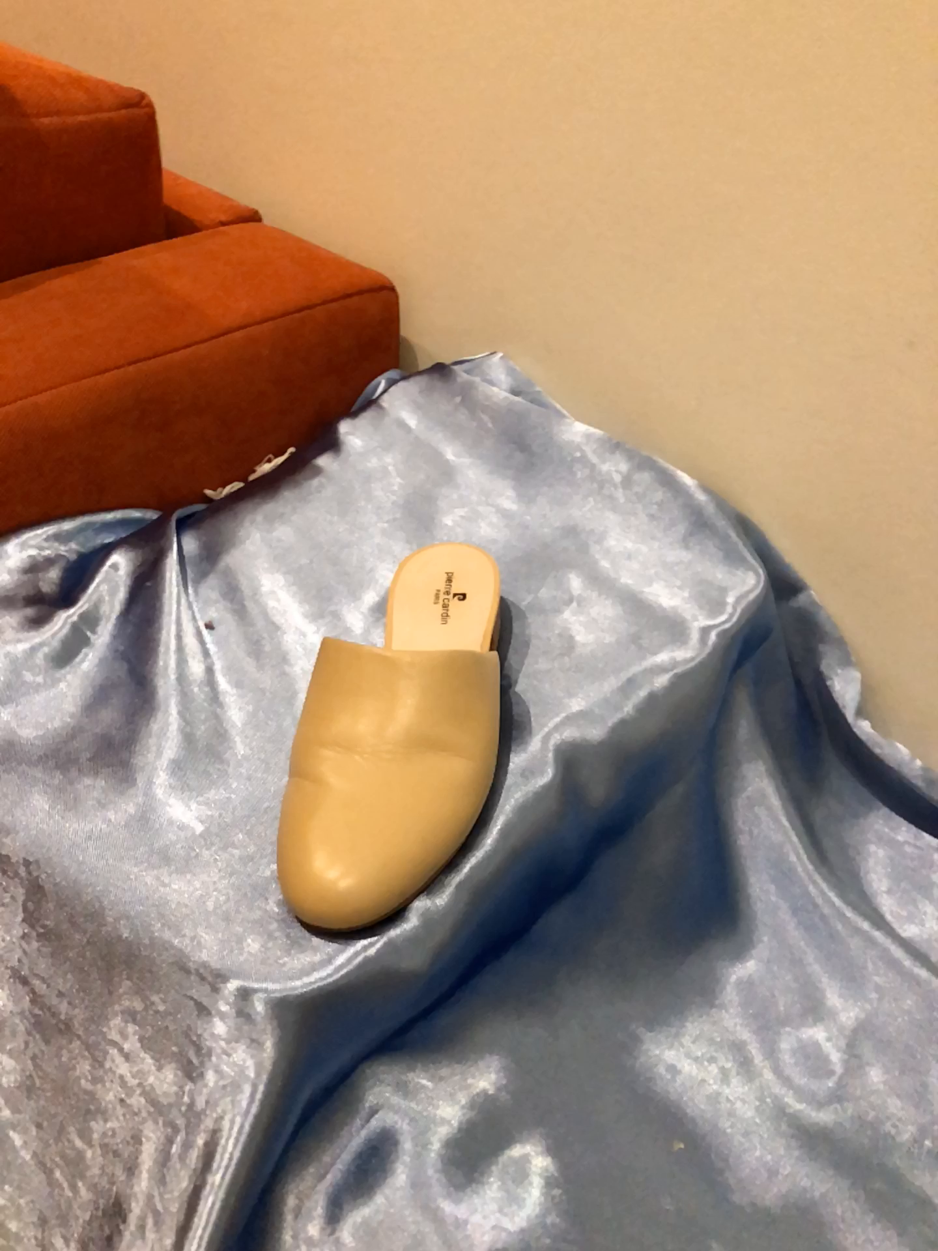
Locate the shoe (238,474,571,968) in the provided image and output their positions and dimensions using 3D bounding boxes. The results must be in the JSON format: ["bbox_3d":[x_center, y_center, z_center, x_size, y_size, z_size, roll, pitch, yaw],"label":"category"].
[{"bbox_3d":[-0.018,0.027,0.509,0.095,0.060,0.262,12,41,5],"label":"shoe"}]
